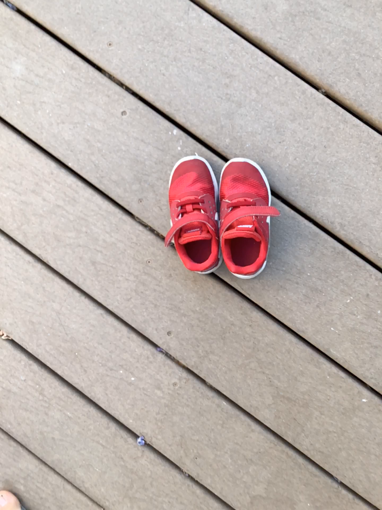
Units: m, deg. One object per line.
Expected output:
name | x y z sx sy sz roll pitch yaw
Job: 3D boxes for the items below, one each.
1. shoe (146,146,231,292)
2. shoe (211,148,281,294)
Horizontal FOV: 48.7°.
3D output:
shoe | 0.002 -0.047 0.552 0.077 0.087 0.167 -7 97 9
shoe | 0.071 -0.043 0.535 0.077 0.087 0.167 -1 98 8
